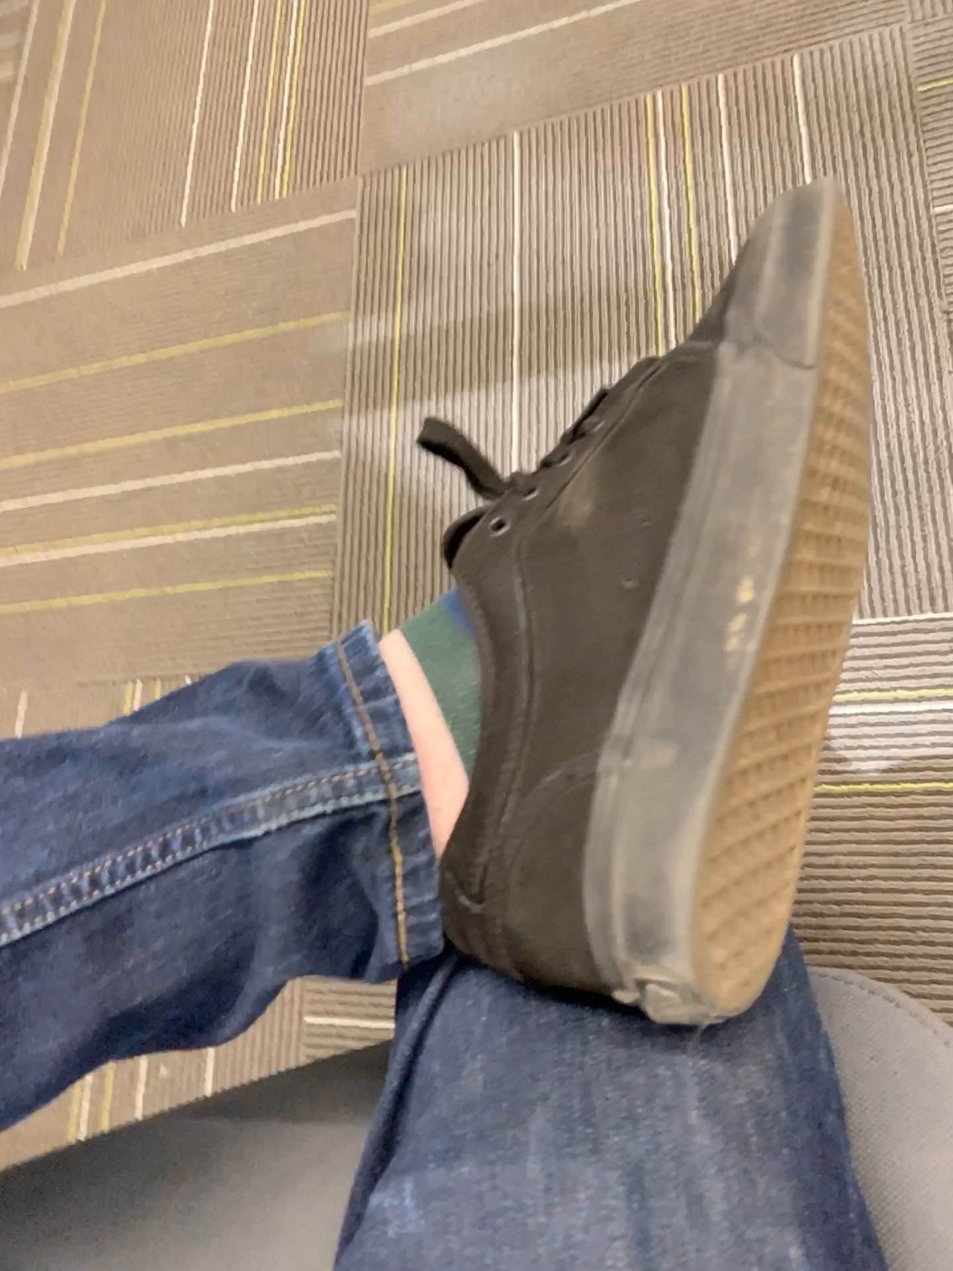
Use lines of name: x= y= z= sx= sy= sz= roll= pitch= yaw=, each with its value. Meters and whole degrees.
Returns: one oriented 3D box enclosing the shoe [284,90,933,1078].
shoe: x=0.058 y=-0.014 z=0.326 sx=0.135 sy=0.120 sz=0.260 roll=5 pitch=75 yaw=32
